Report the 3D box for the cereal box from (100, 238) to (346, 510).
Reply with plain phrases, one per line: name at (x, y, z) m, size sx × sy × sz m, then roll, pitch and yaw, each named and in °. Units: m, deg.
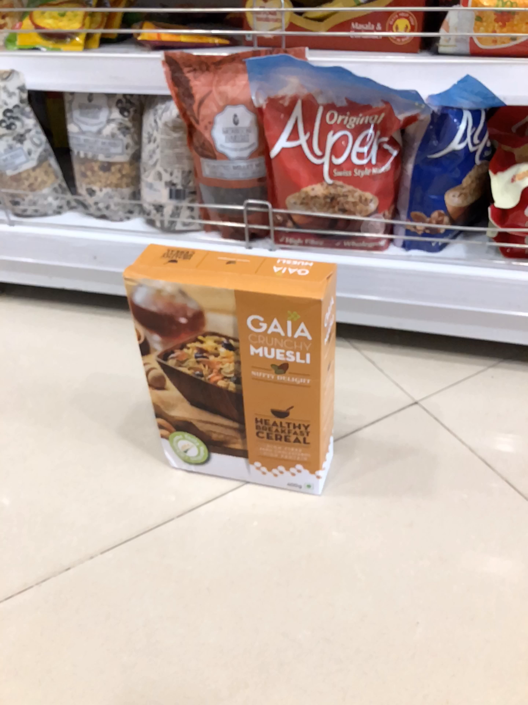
cereal box at (-0.026, 0.027, 0.552) m, size 0.190 × 0.248 × 0.060 m, roll 8°, pitch 40°, yaw 15°
